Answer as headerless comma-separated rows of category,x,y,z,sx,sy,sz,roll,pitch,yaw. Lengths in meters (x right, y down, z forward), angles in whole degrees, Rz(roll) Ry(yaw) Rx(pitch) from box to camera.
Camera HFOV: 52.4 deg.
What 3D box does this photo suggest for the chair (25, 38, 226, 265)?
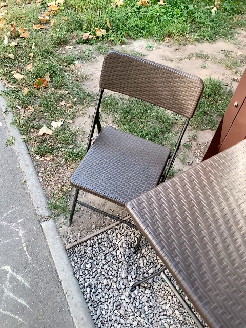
chair,0.027,-0.023,1.026,0.470,0.687,0.472,20,51,13
